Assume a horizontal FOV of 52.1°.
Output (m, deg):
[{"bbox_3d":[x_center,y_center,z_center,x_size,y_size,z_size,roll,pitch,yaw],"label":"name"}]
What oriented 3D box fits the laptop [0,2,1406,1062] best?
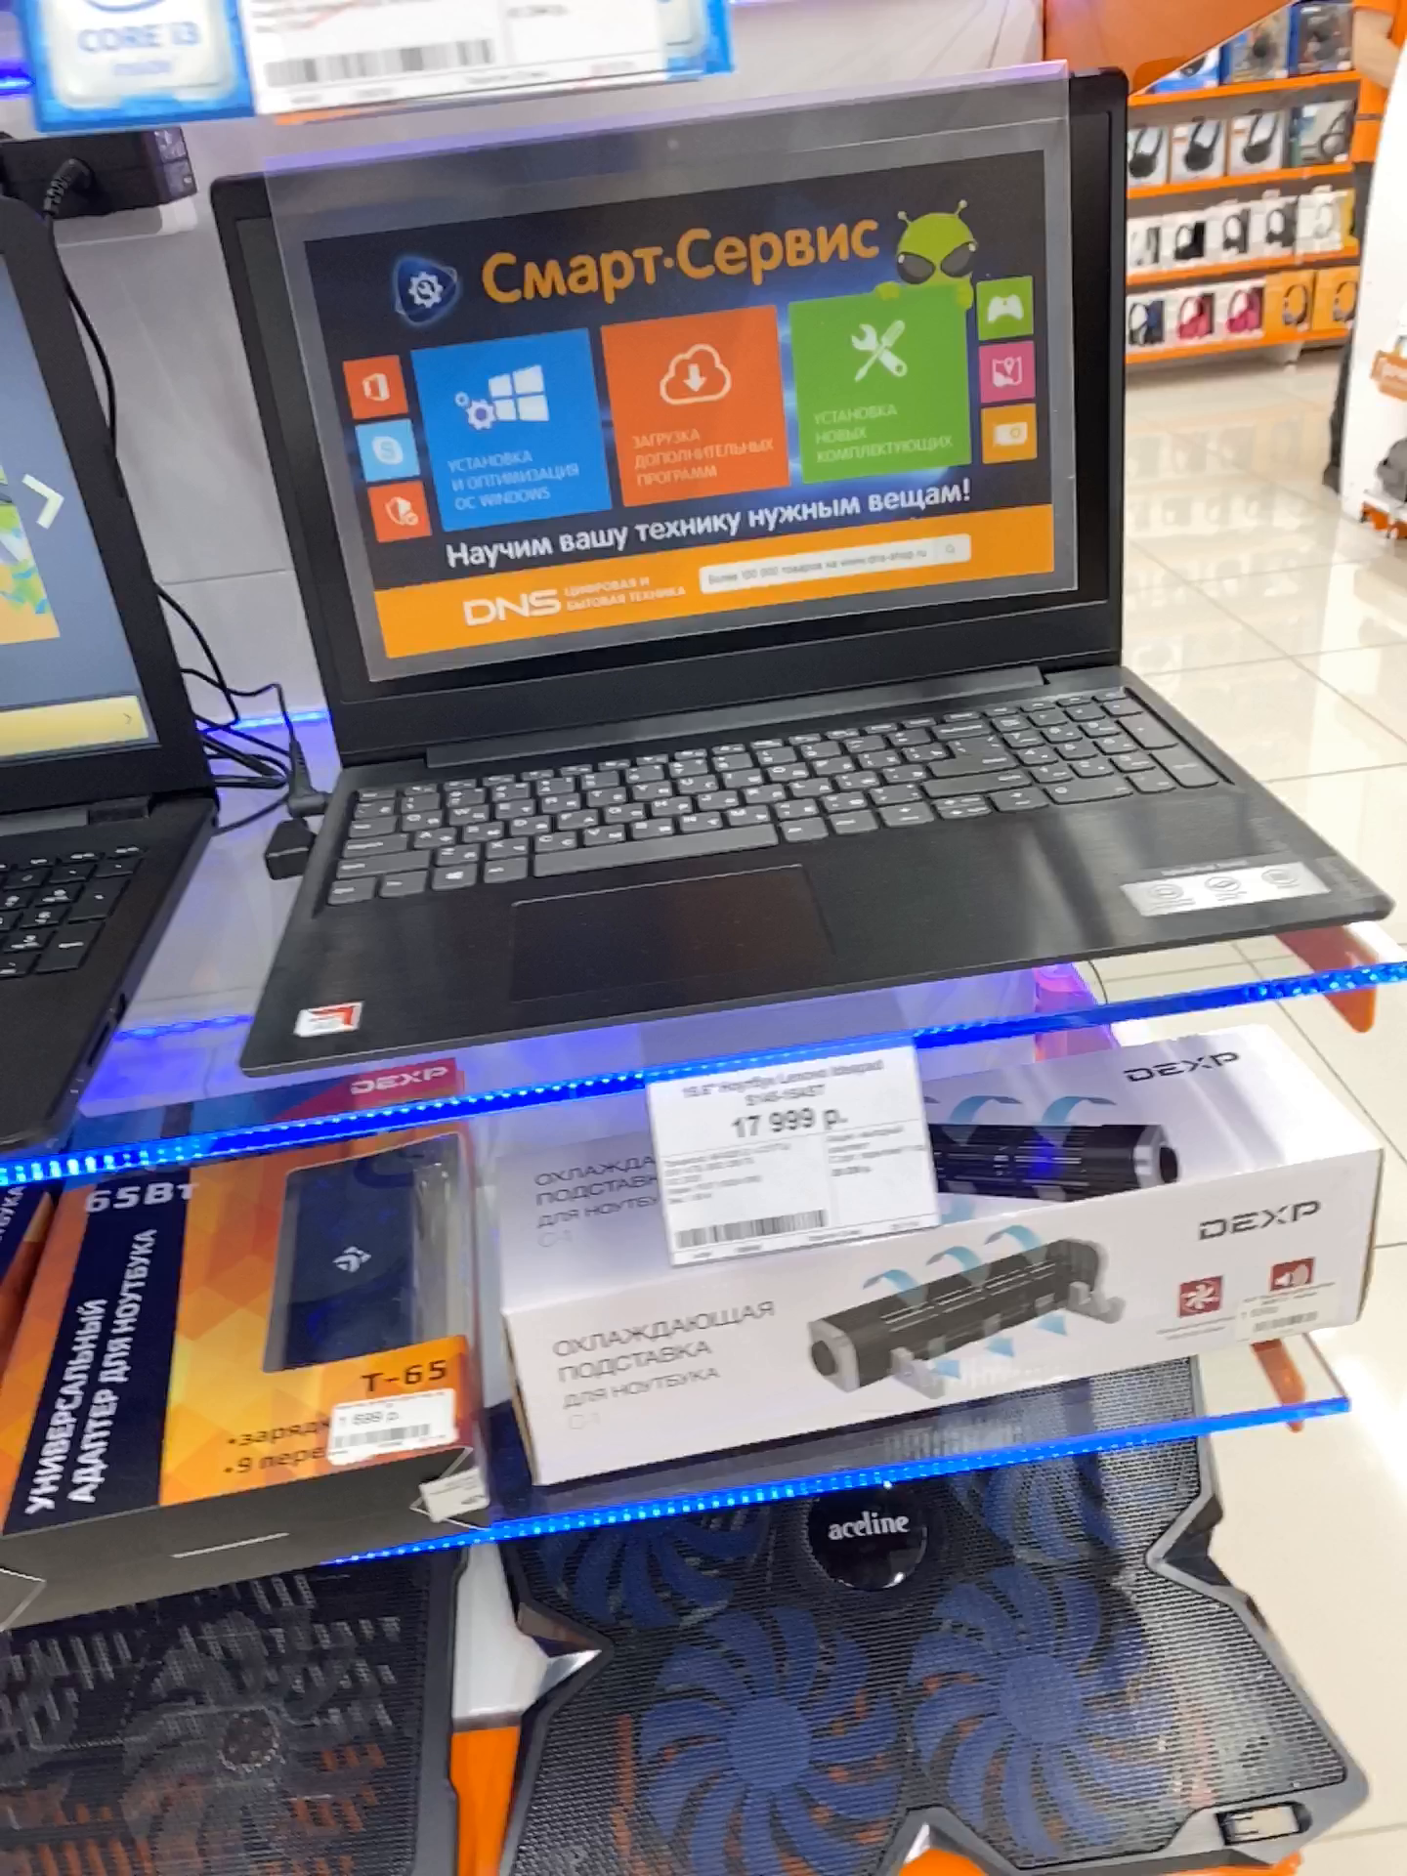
[{"bbox_3d":[0.016,-0.152,0.503,0.357,0.236,0.267,-8,28,-2],"label":"laptop"}]
